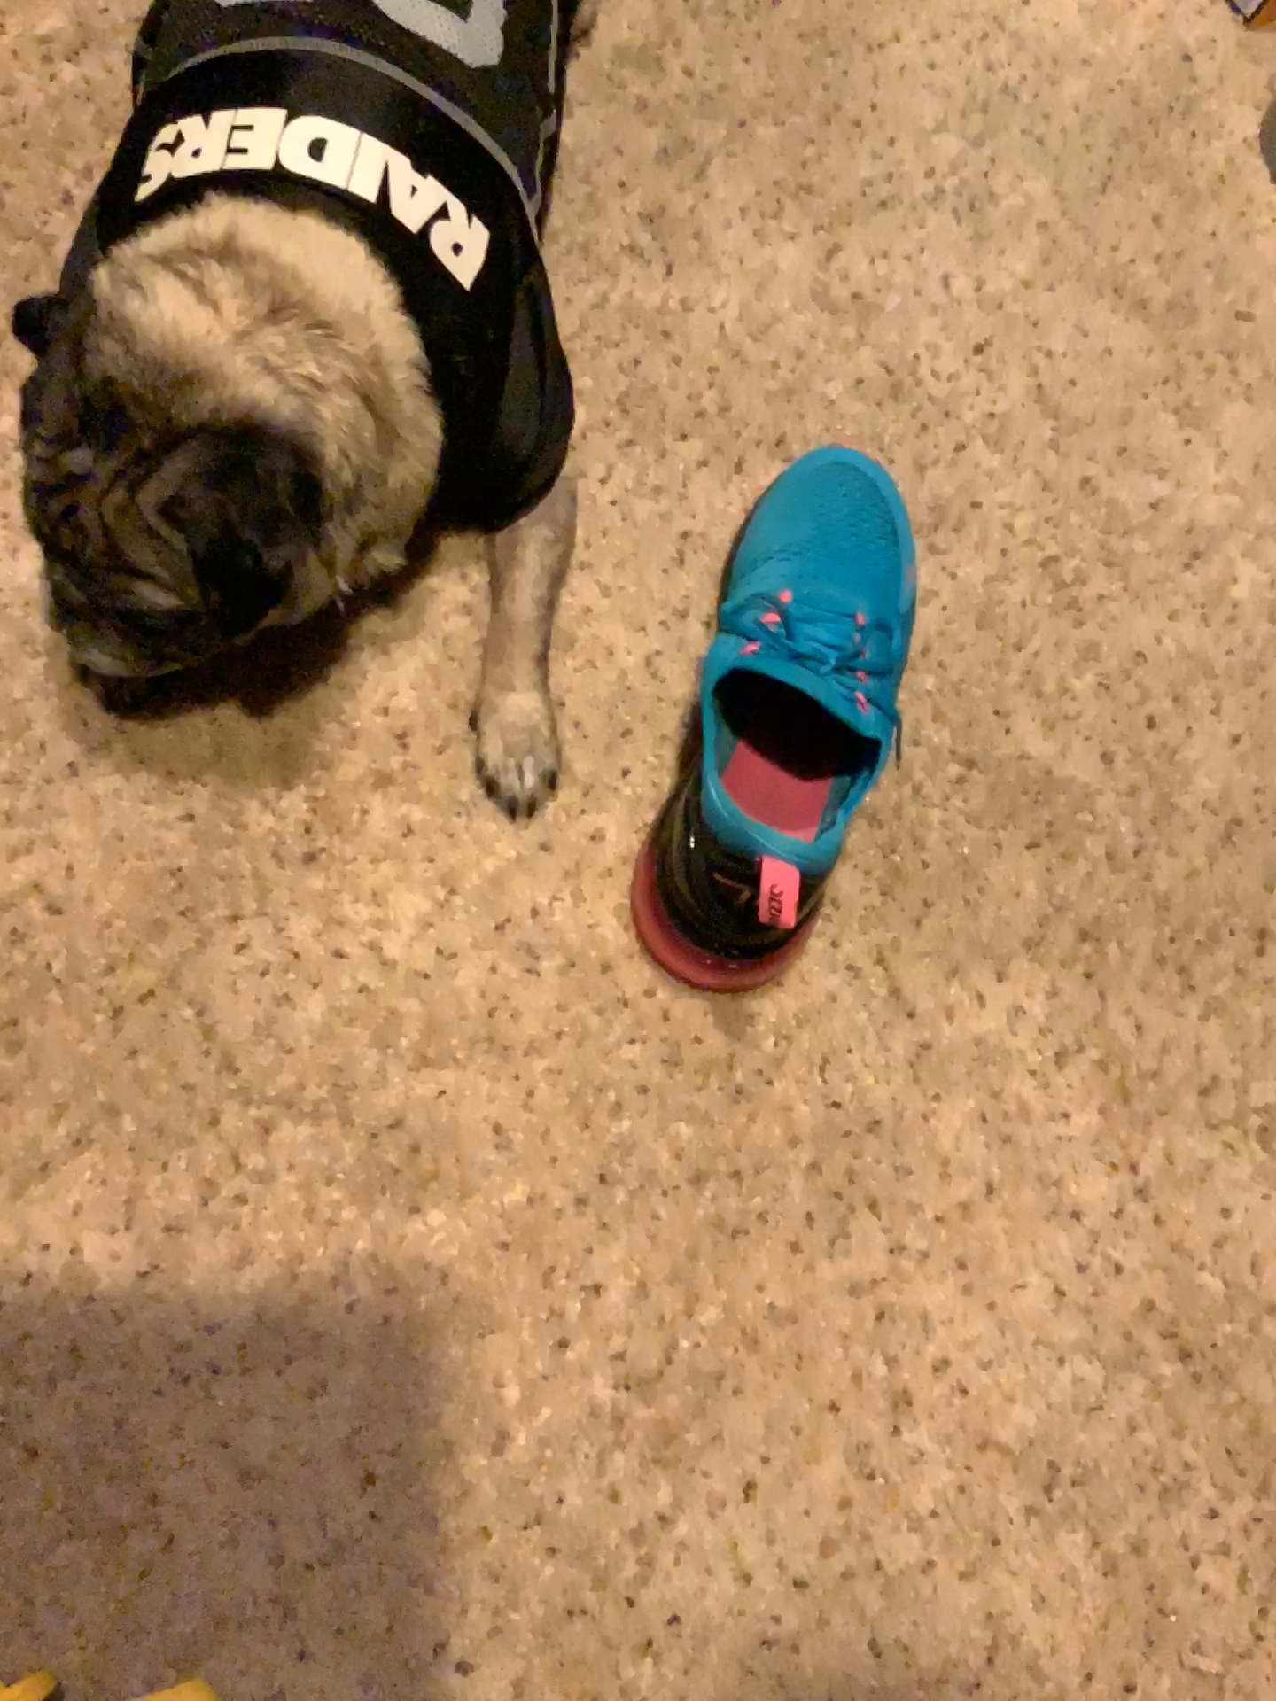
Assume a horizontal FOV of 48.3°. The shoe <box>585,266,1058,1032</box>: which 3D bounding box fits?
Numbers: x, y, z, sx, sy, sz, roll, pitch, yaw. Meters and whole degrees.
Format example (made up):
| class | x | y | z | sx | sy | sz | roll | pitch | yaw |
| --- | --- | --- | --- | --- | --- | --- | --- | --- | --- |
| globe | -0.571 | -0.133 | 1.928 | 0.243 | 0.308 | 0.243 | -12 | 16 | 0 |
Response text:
| class | x | y | z | sx | sy | sz | roll | pitch | yaw |
| --- | --- | --- | --- | --- | --- | --- | --- | --- | --- |
| shoe | 0.093 | -0.098 | 0.732 | 0.130 | 0.140 | 0.340 | 18 | 72 | -6 |
